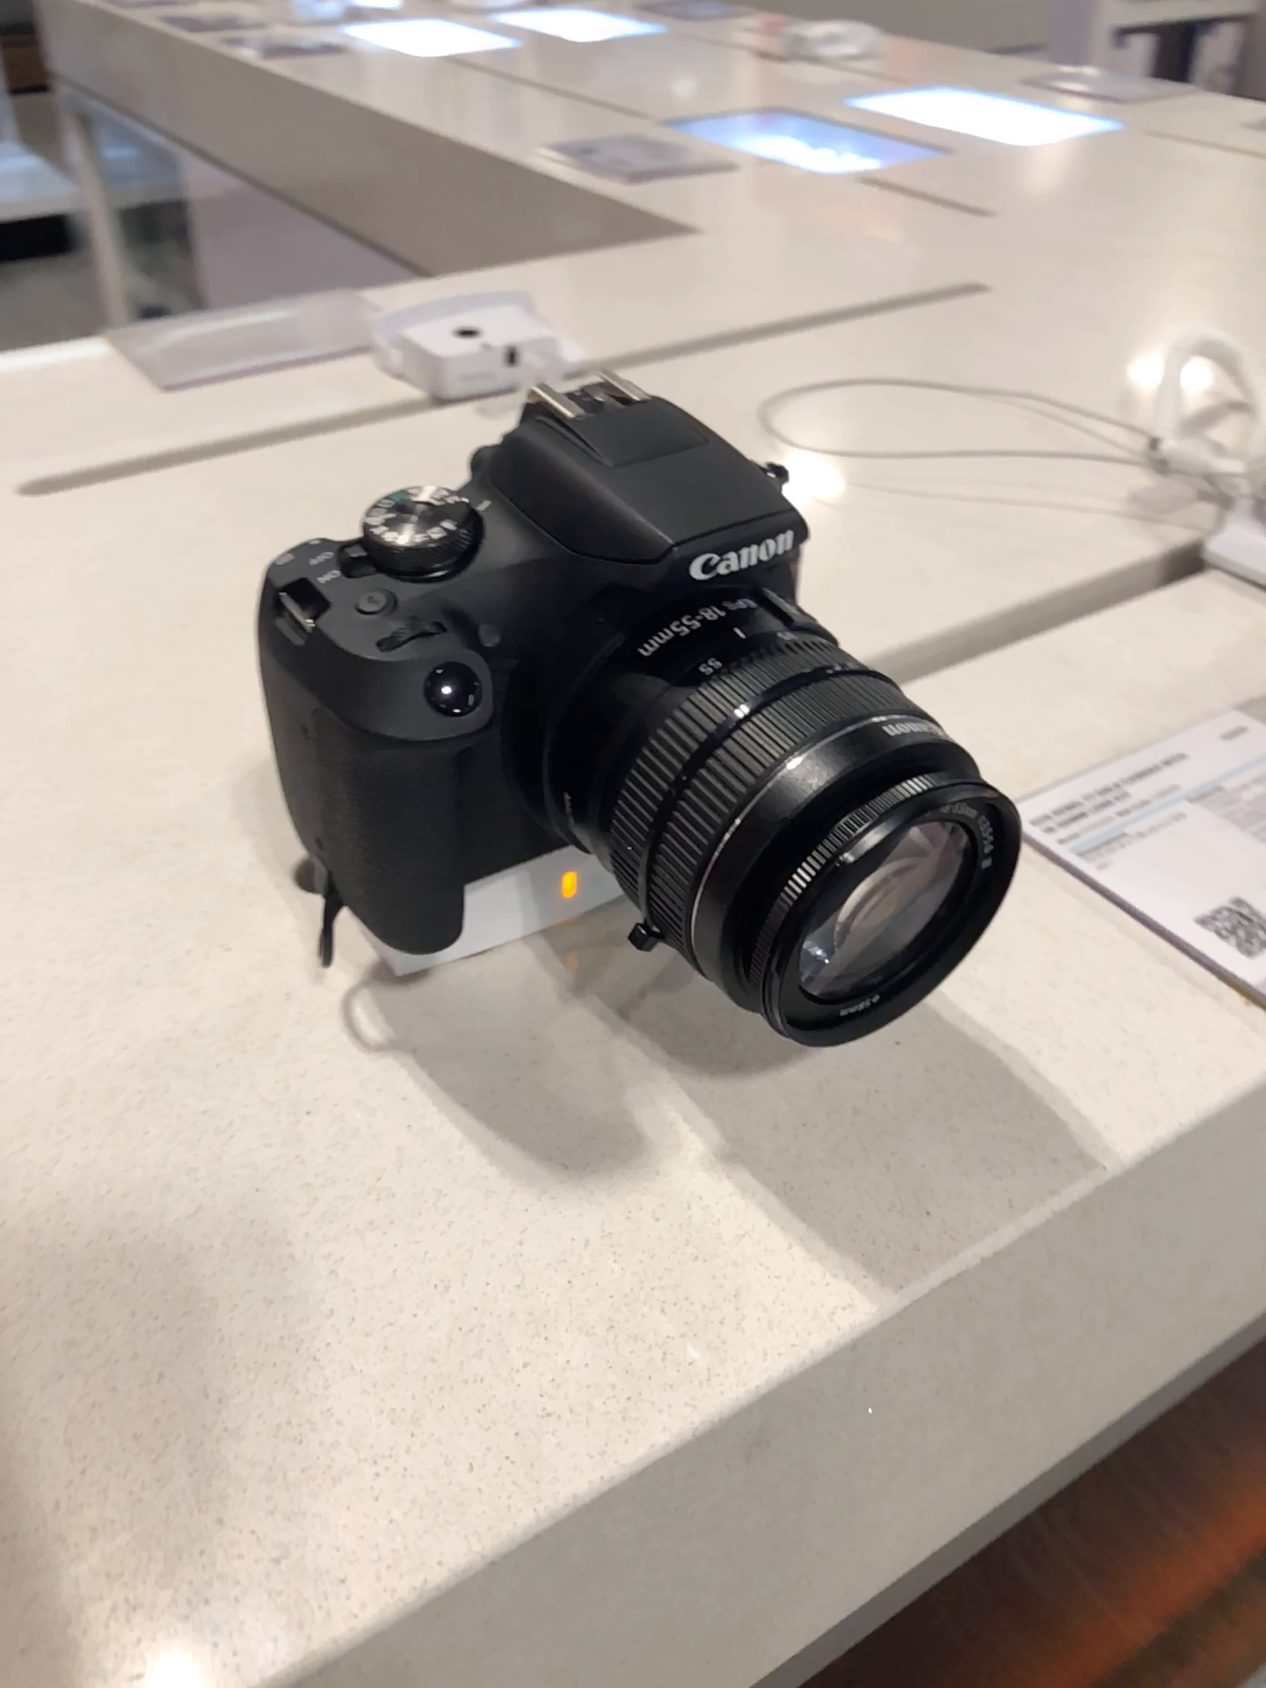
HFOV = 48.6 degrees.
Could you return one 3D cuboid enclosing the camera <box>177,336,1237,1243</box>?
[{"bbox_3d":[0.008,-0.029,0.295,0.140,0.089,0.151,-23,43,-27],"label":"camera"}]
